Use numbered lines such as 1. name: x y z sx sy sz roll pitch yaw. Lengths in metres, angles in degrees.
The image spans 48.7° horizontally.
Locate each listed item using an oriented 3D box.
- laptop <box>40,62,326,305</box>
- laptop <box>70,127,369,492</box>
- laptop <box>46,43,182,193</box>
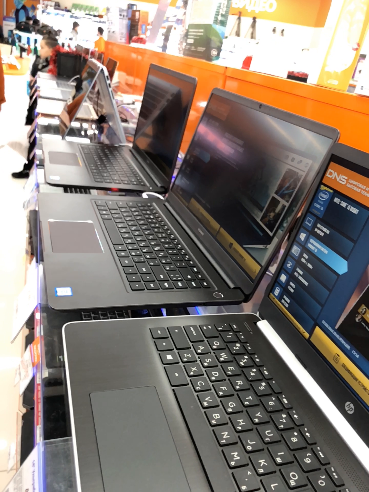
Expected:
1. laptop: -0.047 -0.110 0.584 0.287 0.212 0.339 0 27 -22
2. laptop: 0.056 0.045 0.281 0.243 0.196 0.270 2 22 -18
3. laptop: -0.180 -0.295 0.915 0.241 0.230 0.356 1 26 -23
